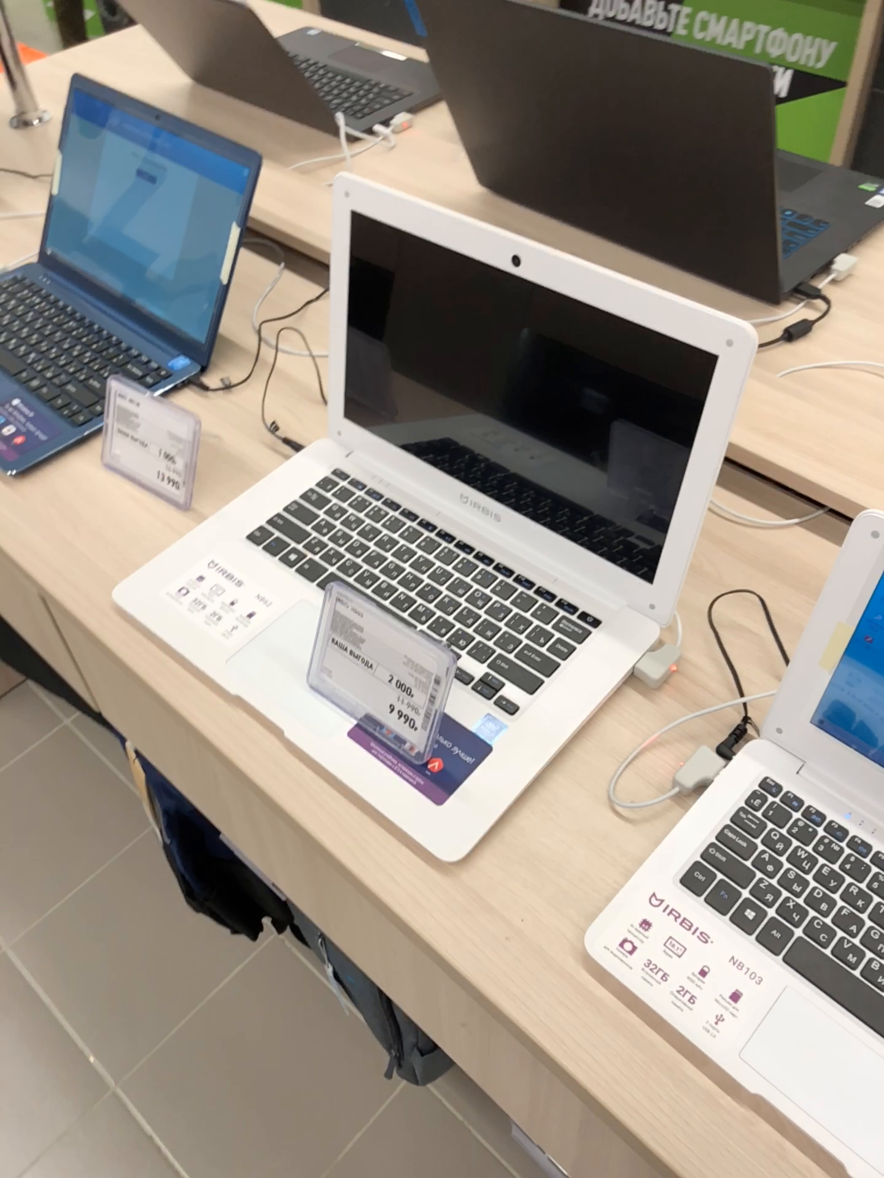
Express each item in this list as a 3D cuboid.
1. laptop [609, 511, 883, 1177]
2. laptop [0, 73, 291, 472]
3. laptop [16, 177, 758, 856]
[{"bbox_3d":[0.251,0.140,0.455,0.260,0.167,0.221,33,57,31],"label":"laptop"},{"bbox_3d":[-0.369,-0.317,0.919,0.299,0.158,0.311,34,58,29],"label":"laptop"},{"bbox_3d":[-0.032,-0.072,0.644,0.334,0.207,0.279,32,57,28],"label":"laptop"}]
